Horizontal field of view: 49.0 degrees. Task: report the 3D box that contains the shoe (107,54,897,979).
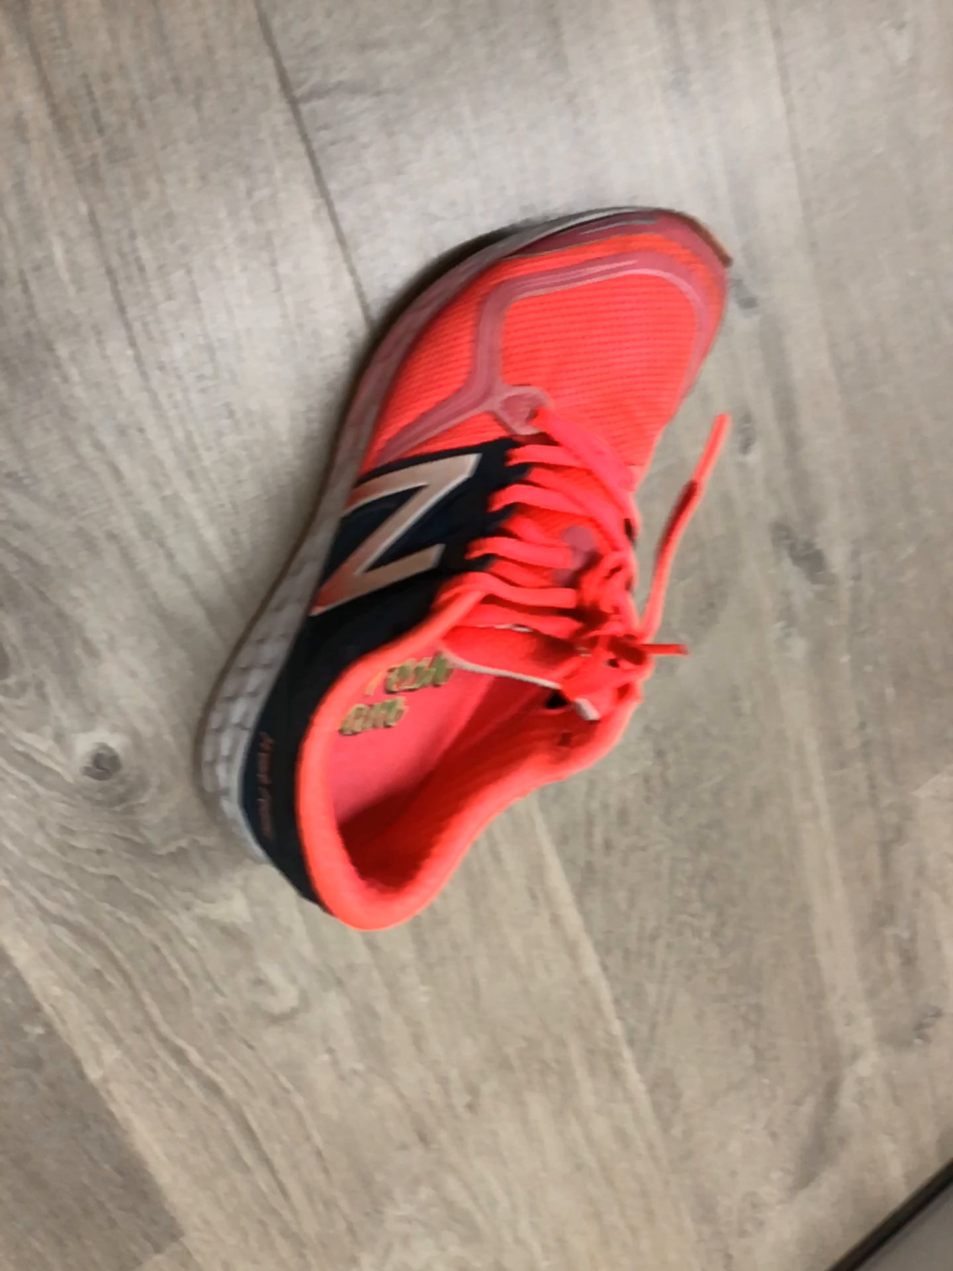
[{"bbox_3d":[0.003,-0.038,0.334,0.100,0.110,0.240,36,85,-30],"label":"shoe"}]
